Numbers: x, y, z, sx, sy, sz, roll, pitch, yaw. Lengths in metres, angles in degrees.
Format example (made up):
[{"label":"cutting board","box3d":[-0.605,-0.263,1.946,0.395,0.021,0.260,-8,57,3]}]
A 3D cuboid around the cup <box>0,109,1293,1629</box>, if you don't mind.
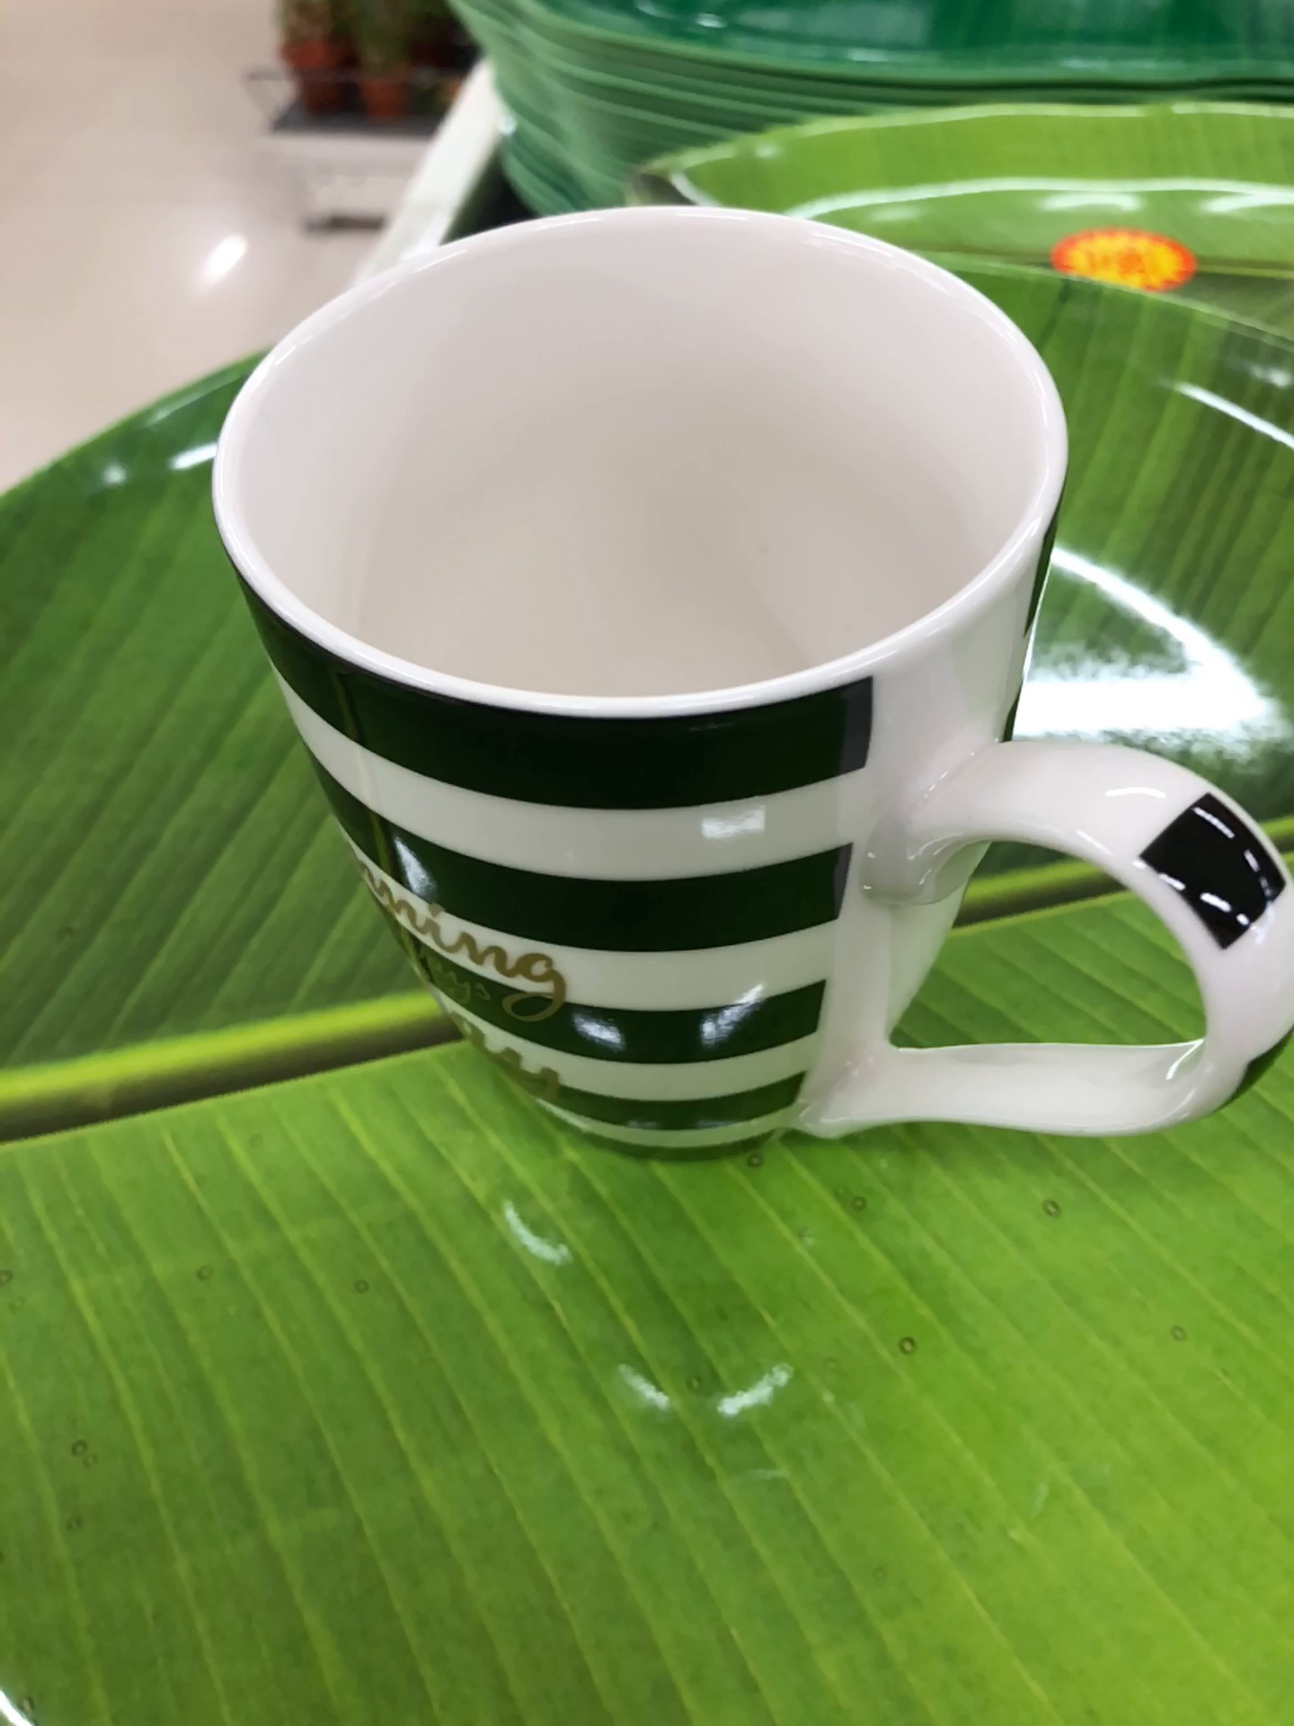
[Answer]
[{"label":"cup","box3d":[0.010,-0.010,0.156,0.130,0.080,0.080,33,57,28]}]
